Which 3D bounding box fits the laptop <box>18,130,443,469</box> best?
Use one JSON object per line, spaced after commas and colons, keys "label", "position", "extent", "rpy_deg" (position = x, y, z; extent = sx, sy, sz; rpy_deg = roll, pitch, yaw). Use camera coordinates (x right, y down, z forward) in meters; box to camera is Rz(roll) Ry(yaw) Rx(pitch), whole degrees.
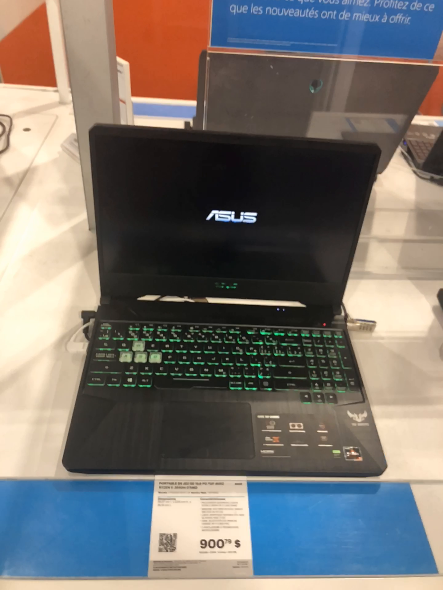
{"label": "laptop", "position": [0.015, -0.002, 0.566], "extent": [0.350, 0.235, 0.302], "rpy_deg": [2, 42, -4]}
